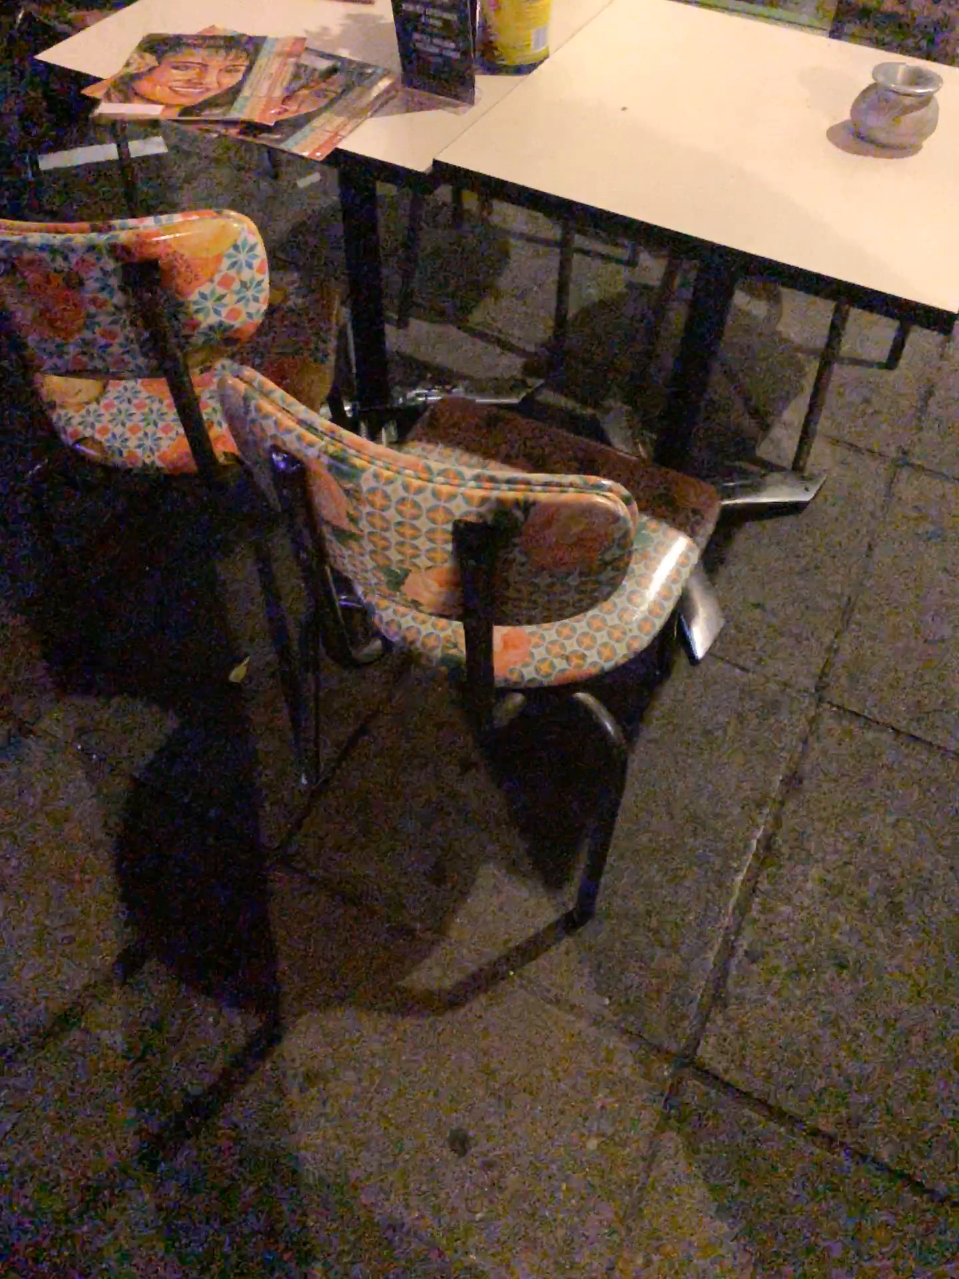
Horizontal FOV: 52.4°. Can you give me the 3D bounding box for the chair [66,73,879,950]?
[{"bbox_3d":[0.029,-0.122,1.137,0.521,0.694,0.574,21,56,14],"label":"chair"}]
